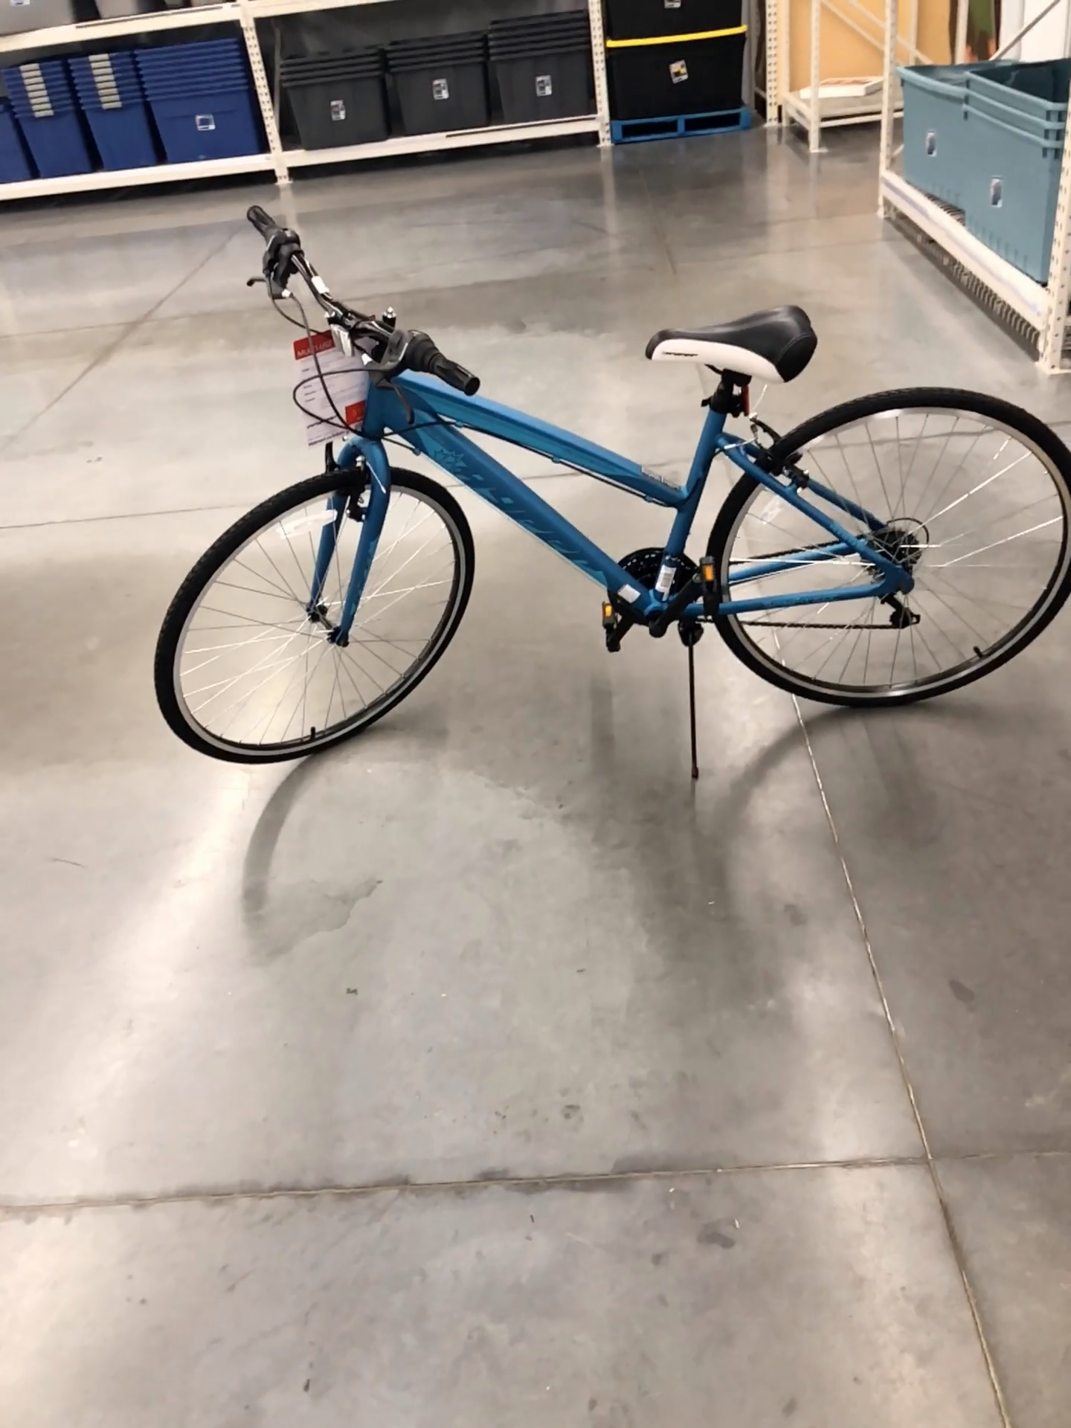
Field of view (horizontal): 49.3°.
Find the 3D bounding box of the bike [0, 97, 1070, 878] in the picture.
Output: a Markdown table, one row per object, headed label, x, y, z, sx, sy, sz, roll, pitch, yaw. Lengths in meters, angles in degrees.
| label | x | y | z | sx | sy | sz | roll | pitch | yaw |
| --- | --- | --- | --- | --- | --- | --- | --- | --- | --- |
| bike | 0.147 | -0.382 | 1.978 | 1.604 | 0.978 | 0.581 | -7 | 33 | -1 |
